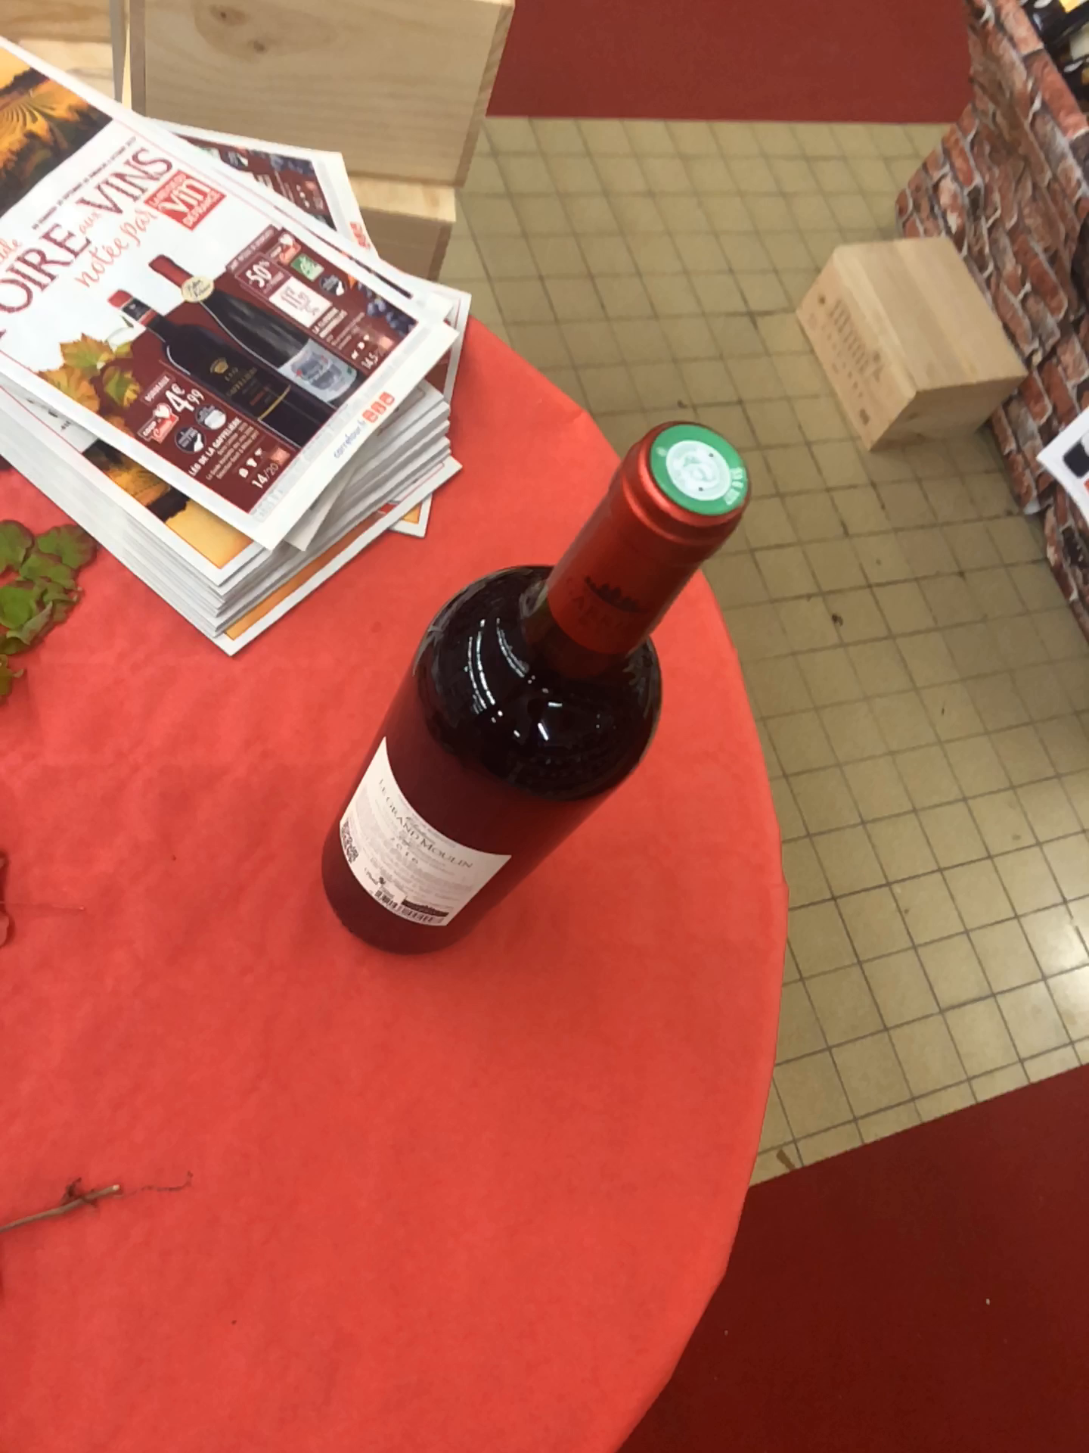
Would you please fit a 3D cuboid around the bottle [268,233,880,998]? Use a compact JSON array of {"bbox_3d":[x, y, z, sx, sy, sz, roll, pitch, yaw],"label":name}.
[{"bbox_3d":[-0.019,-0.001,0.381,0.080,0.298,0.080,7,64,-15],"label":"bottle"}]
